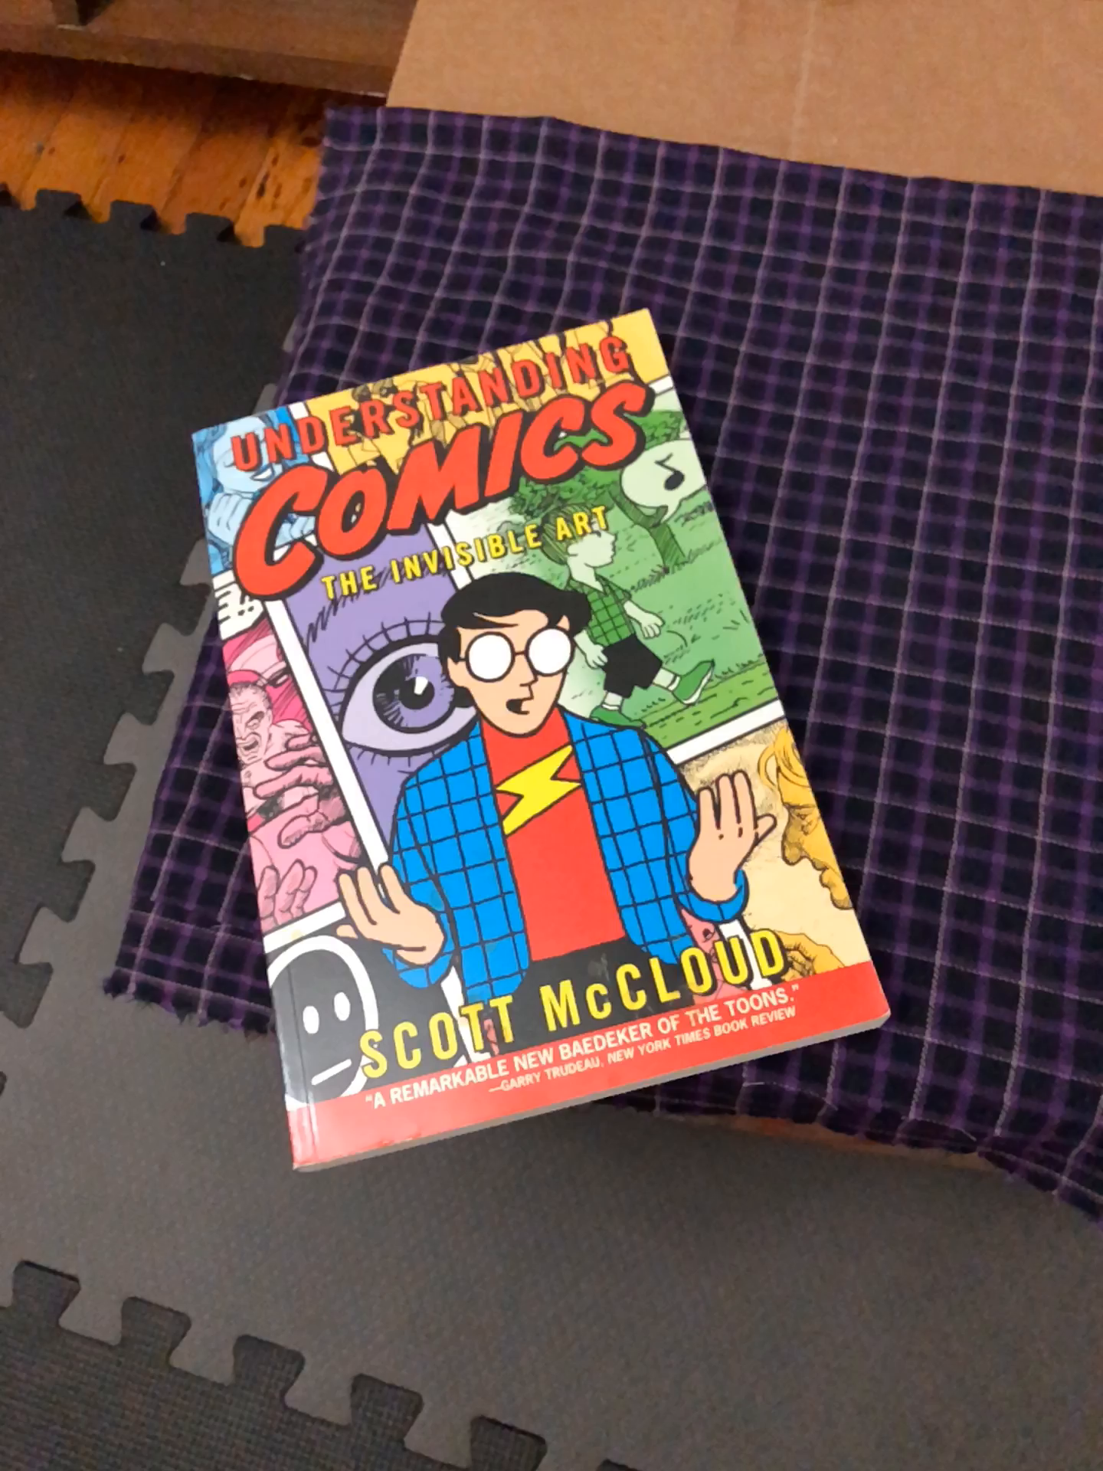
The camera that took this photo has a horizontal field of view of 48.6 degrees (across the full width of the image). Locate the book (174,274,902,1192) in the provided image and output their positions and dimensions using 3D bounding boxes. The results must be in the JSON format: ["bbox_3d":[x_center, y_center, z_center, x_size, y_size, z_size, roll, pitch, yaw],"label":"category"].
[{"bbox_3d":[-0.019,-0.018,0.387,0.170,0.020,0.271,-14,67,0],"label":"book"}]
